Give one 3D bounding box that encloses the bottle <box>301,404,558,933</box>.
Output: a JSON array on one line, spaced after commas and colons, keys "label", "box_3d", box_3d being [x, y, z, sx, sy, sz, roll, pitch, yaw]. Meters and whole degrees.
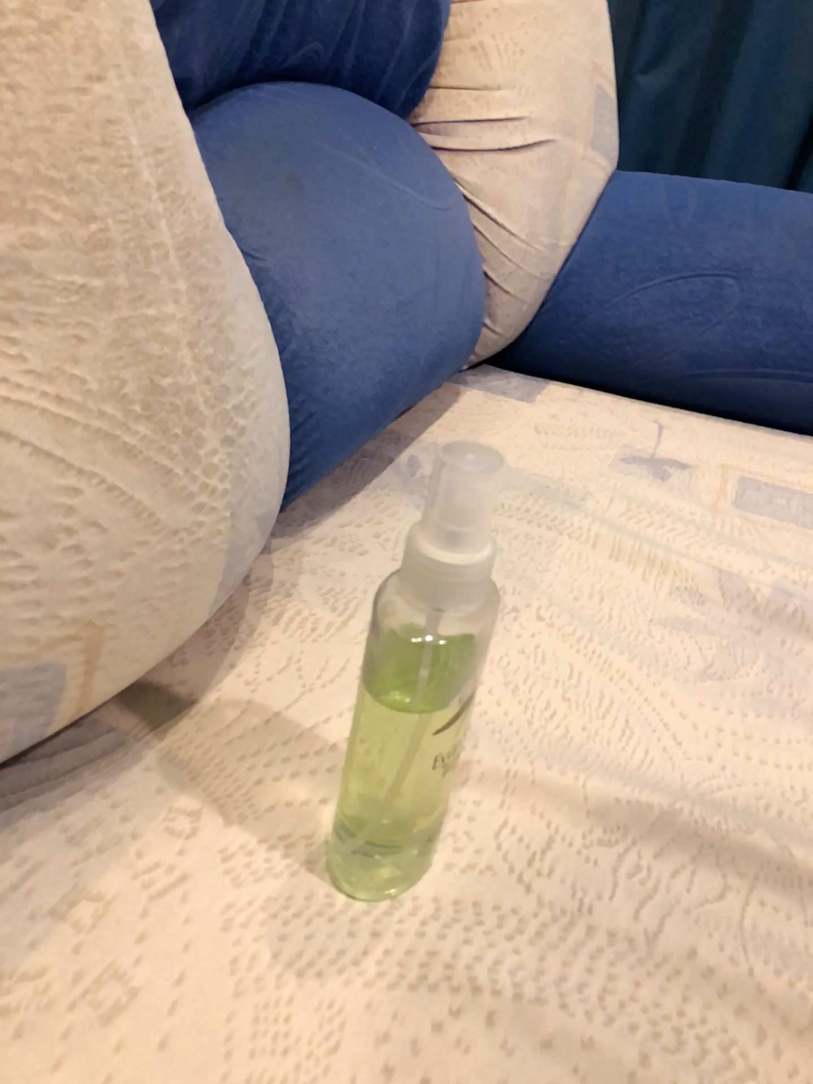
[{"label": "bottle", "box_3d": [0.005, 0.041, 0.272, 0.037, 0.149, 0.058, 19, 30, 17]}]
